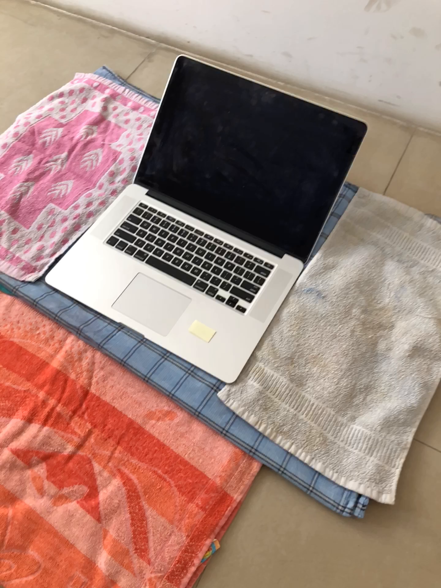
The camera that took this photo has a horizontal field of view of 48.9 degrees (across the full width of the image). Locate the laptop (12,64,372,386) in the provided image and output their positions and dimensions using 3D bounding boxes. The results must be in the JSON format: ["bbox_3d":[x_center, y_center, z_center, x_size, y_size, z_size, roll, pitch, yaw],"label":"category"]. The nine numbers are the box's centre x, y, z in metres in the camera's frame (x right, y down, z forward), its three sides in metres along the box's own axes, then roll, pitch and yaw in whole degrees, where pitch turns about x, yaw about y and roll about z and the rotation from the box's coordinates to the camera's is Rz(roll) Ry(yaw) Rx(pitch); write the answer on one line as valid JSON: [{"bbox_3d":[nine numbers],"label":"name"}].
[{"bbox_3d":[-0.024,-0.131,0.753,0.343,0.144,0.414,26,64,17],"label":"laptop"}]
